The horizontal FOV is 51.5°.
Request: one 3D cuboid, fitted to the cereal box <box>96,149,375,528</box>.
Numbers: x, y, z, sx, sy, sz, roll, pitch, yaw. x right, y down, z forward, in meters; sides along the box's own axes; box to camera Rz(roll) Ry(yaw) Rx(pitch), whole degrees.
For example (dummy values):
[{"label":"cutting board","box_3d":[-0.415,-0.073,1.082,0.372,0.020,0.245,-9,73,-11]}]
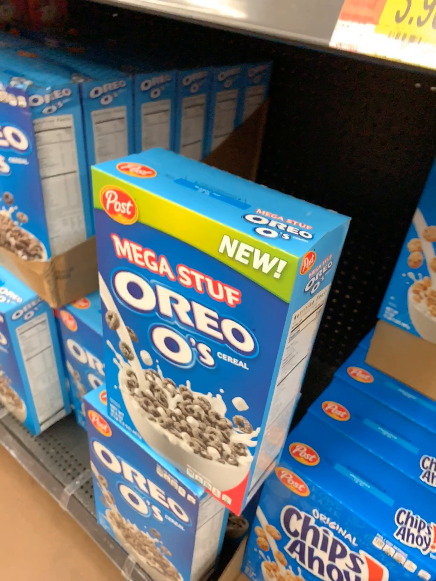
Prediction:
[{"label":"cereal box","box_3d":[-0.008,0.051,0.424,0.200,0.298,0.080,27,39,25]}]
